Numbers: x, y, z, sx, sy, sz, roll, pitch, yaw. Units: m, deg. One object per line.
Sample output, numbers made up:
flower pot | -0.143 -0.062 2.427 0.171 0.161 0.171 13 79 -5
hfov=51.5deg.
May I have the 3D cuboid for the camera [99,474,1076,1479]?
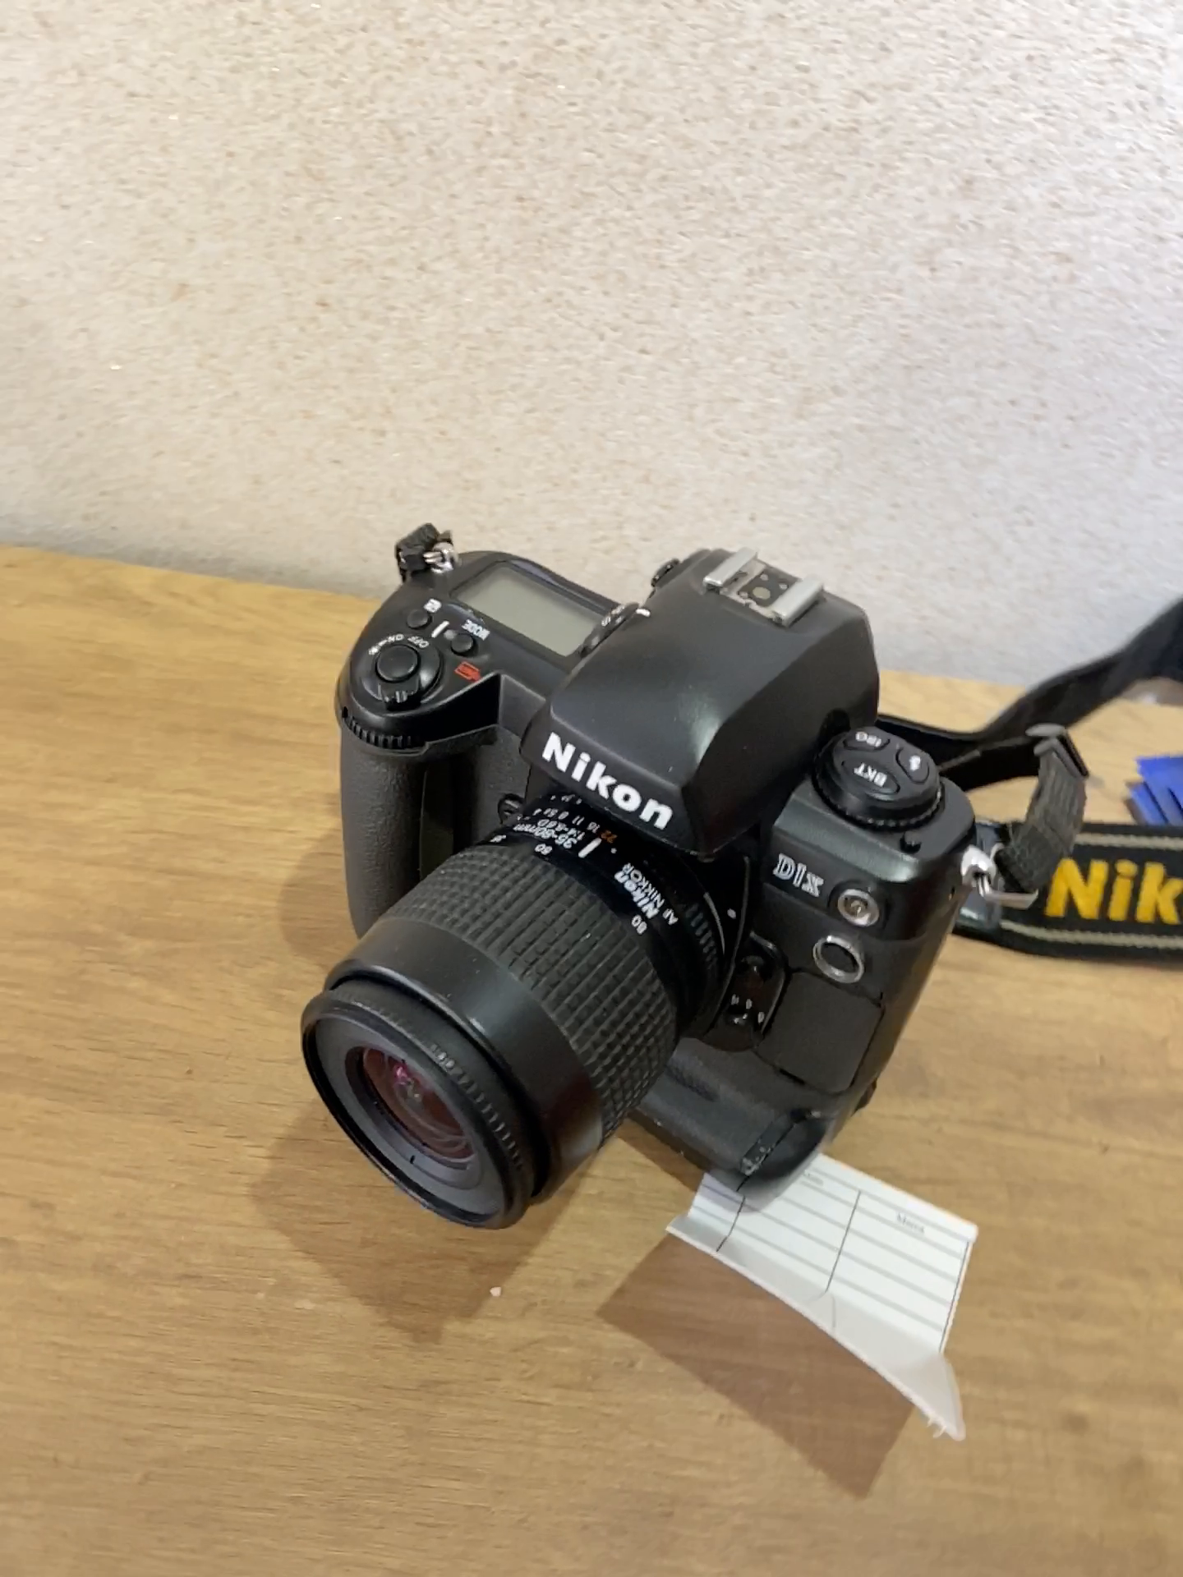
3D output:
camera | 0.004 0.034 0.311 0.150 0.129 0.161 27 47 21
